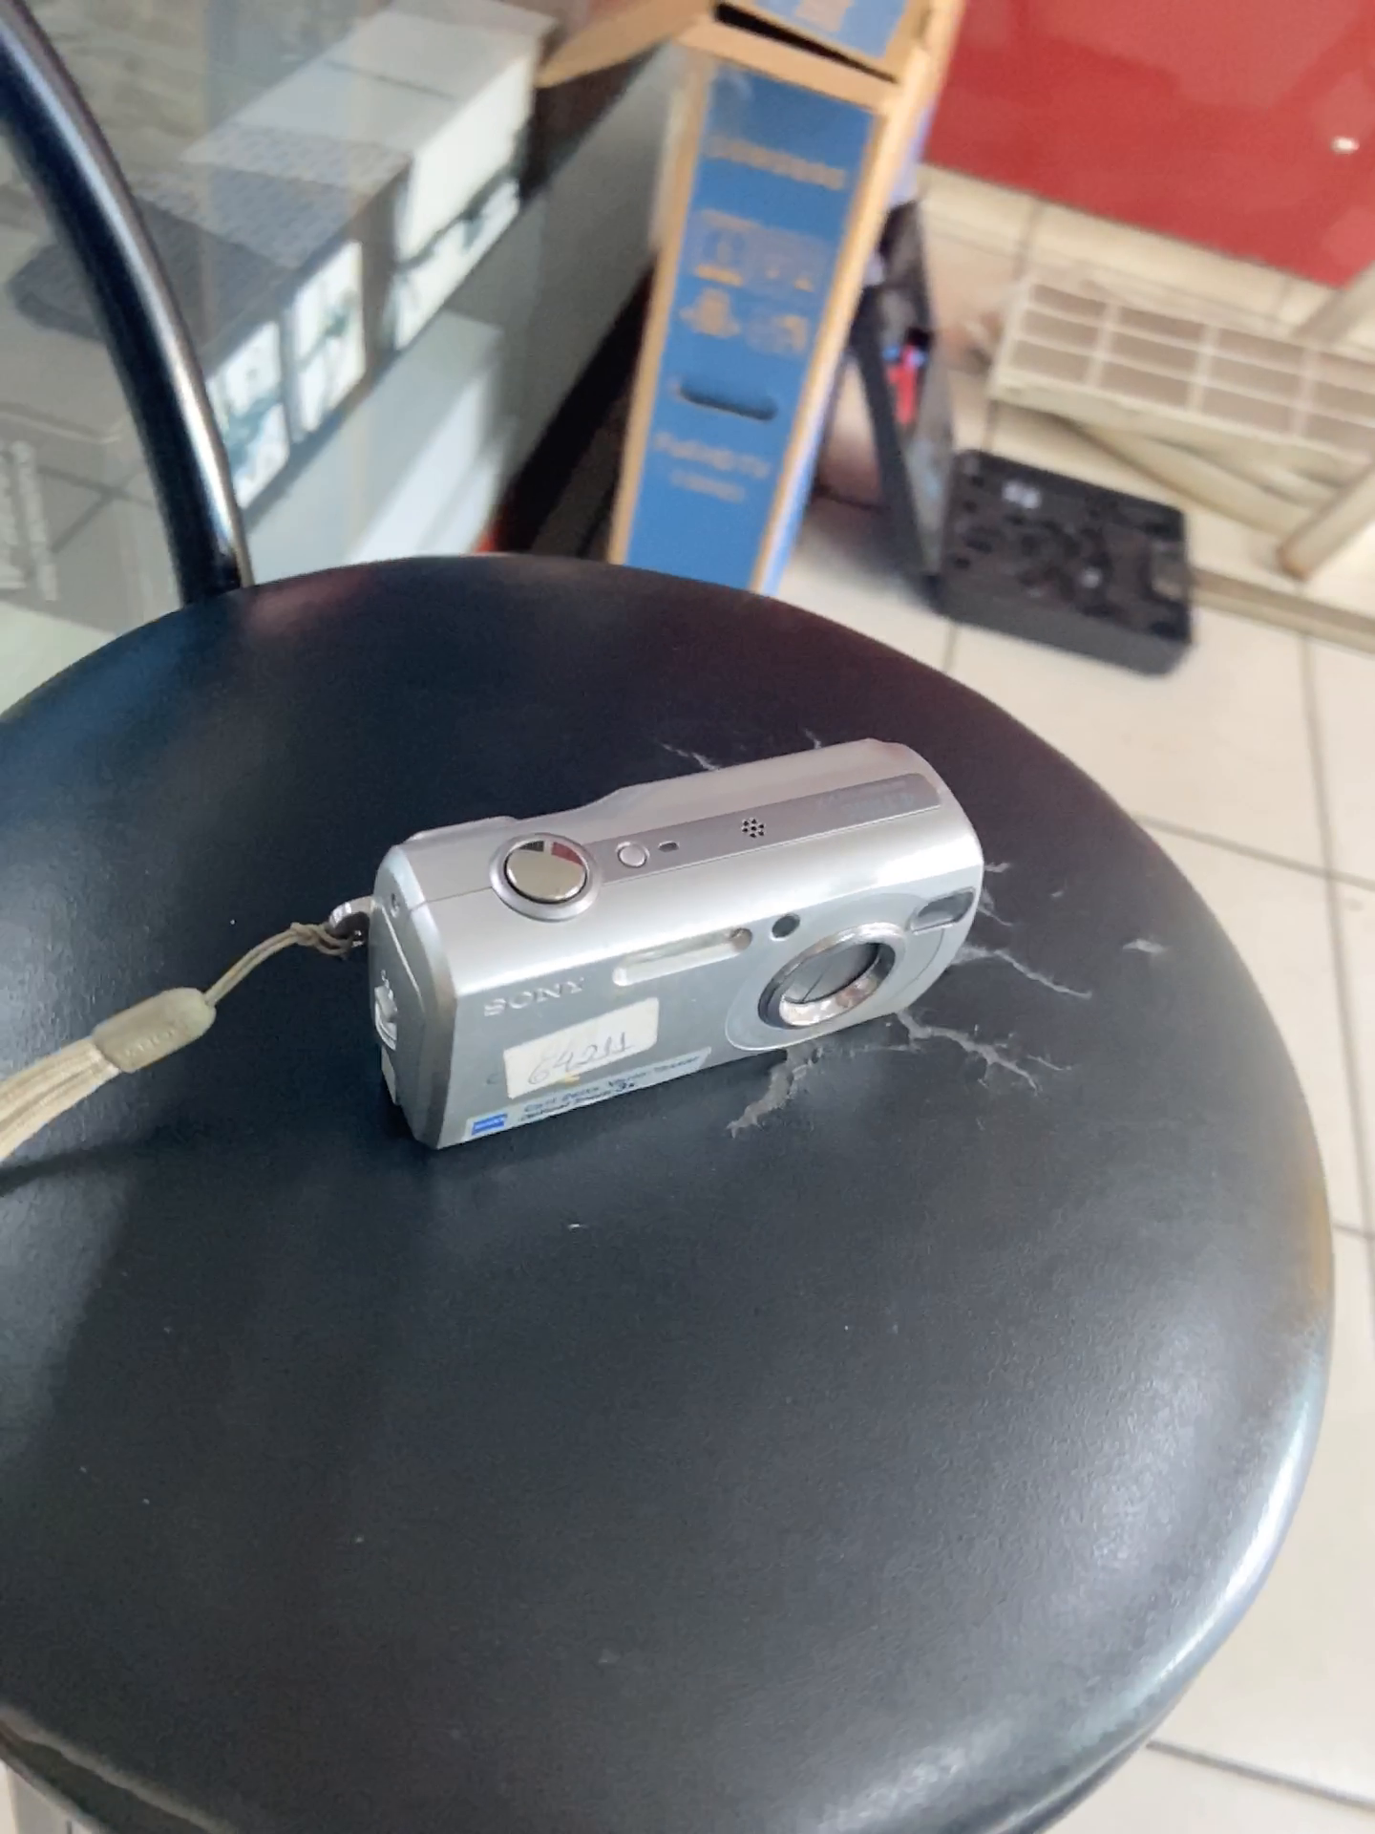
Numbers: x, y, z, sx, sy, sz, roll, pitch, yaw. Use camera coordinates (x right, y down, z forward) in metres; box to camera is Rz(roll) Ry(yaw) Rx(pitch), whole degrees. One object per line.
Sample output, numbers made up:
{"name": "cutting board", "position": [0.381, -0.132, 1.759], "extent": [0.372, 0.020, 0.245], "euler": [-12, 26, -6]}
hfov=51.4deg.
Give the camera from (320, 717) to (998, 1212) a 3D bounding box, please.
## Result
{"name": "camera", "position": [-0.007, 0.006, 0.242], "extent": [0.100, 0.050, 0.040], "euler": [-13, 54, -25]}
